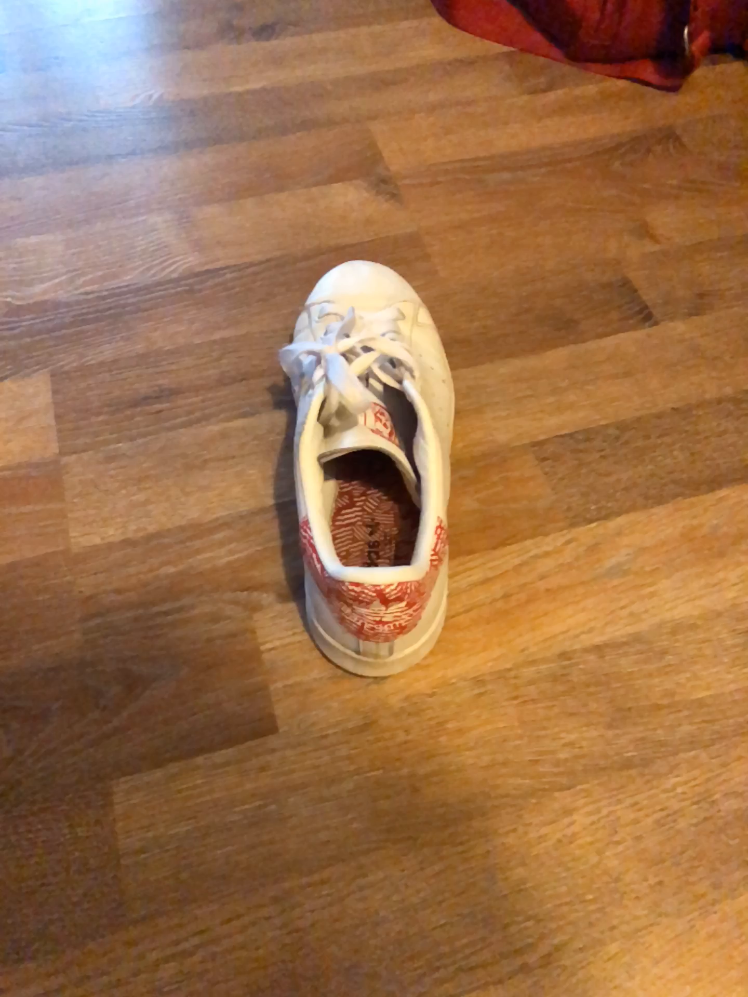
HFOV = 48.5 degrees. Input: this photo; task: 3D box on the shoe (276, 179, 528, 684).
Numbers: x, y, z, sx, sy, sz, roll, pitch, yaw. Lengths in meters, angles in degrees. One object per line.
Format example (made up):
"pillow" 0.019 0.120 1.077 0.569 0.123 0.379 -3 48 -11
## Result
"shoe" 0.004 -0.043 0.442 0.100 0.109 0.251 -1 58 -3
